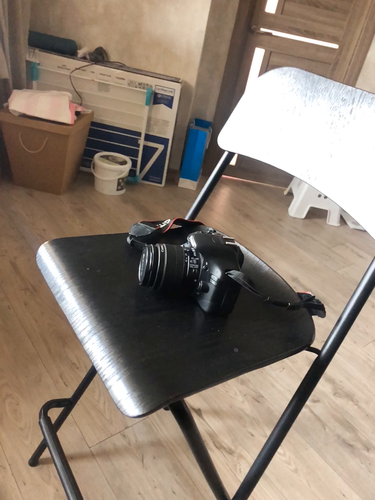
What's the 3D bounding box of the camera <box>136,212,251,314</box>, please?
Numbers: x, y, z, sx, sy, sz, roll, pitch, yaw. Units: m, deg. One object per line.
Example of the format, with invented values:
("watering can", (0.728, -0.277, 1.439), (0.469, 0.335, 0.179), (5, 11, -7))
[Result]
("camera", (0.001, 0.018, 0.623), (0.140, 0.092, 0.121), (4, 32, -14))
